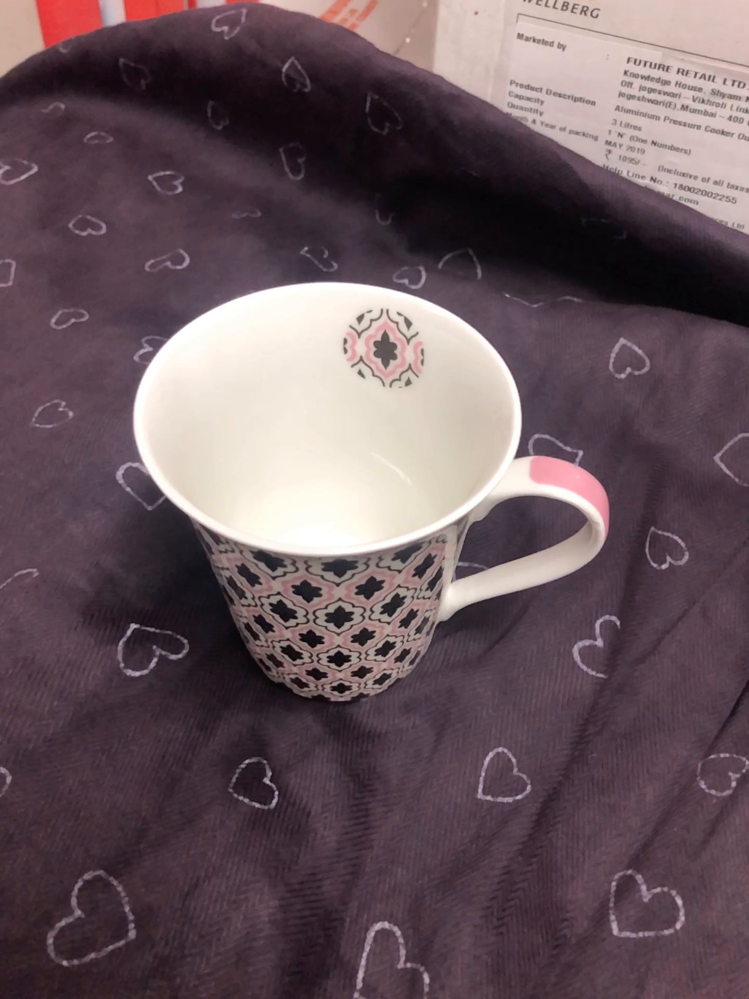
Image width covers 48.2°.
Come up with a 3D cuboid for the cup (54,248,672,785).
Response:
[{"bbox_3d":[0.002,0.003,0.219,0.120,0.080,0.091,10,49,4],"label":"cup"}]
